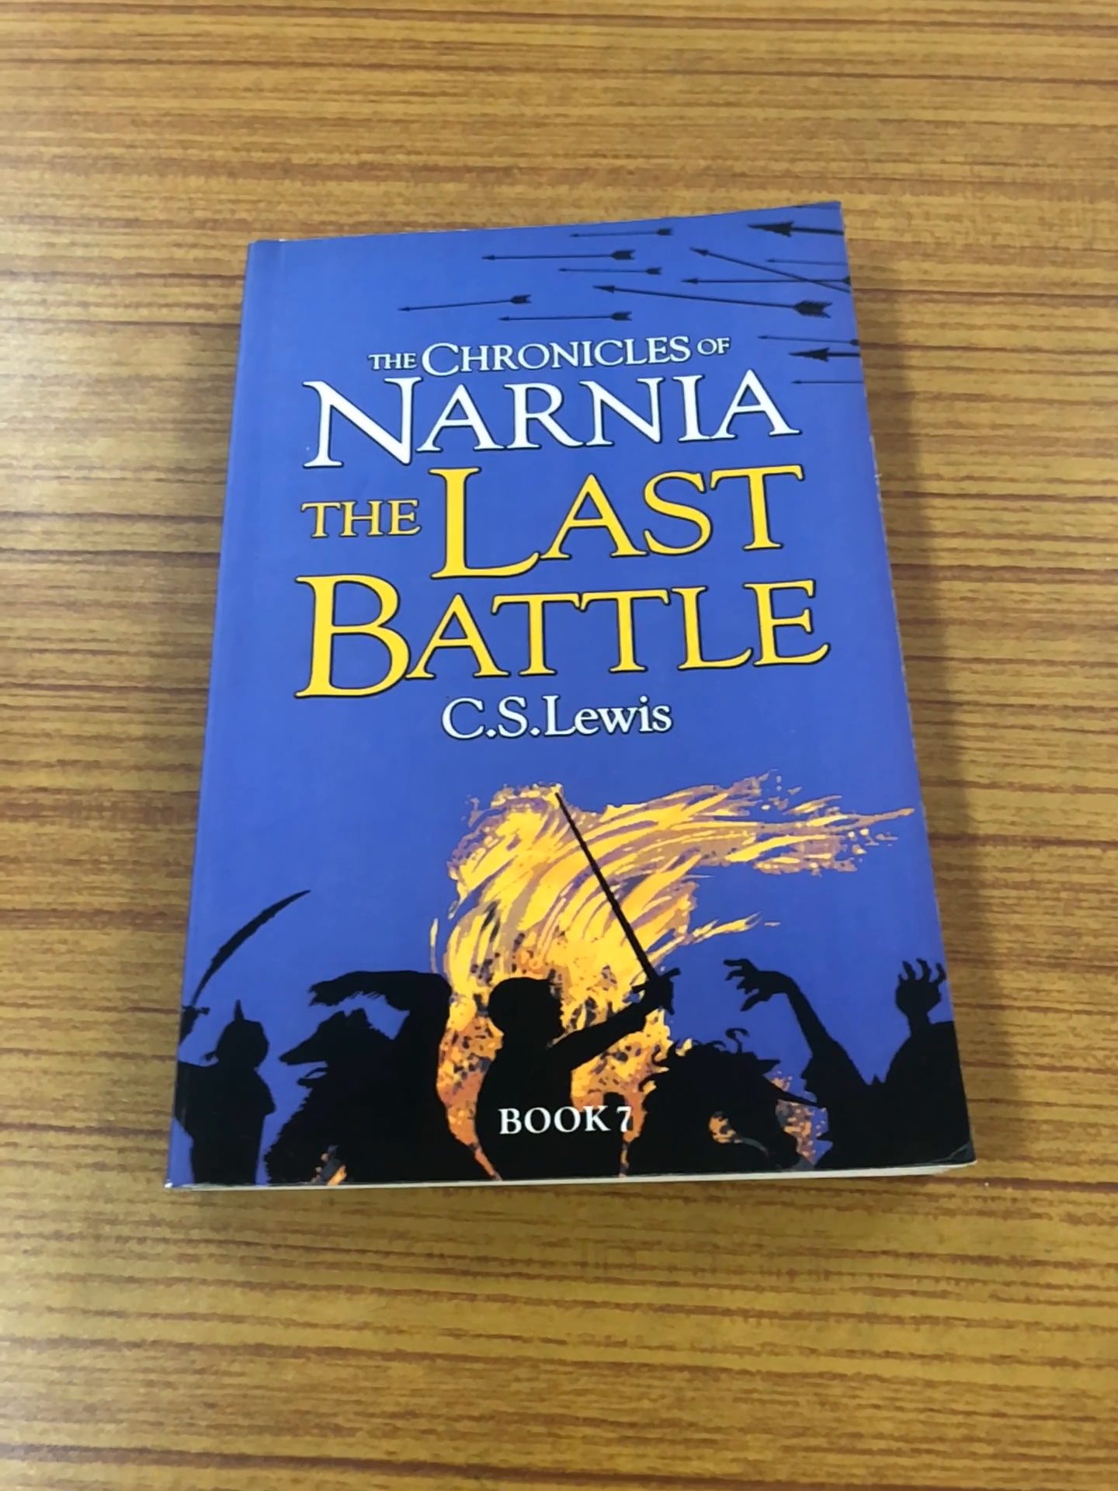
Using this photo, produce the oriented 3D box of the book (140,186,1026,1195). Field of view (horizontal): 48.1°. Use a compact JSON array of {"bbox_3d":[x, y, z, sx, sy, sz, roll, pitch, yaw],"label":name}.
[{"bbox_3d":[0.002,-0.019,0.248,0.140,0.030,0.200,-2,69,1],"label":"book"}]
